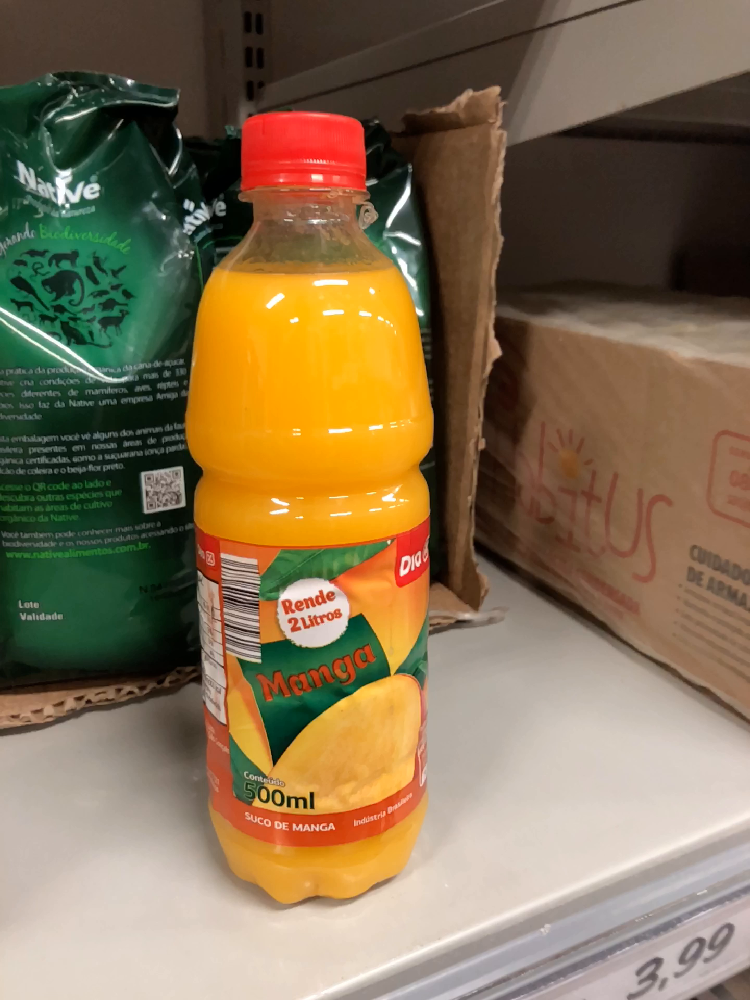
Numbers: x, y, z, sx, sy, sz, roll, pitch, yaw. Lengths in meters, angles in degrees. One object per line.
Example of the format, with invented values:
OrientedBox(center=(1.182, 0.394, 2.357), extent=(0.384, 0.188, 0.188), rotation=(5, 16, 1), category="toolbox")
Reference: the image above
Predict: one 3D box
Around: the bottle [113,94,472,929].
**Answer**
OrientedBox(center=(-0.016, 0.007, 0.221), extent=(0.070, 0.199, 0.060), rotation=(-1, 17, -3), category="bottle")
